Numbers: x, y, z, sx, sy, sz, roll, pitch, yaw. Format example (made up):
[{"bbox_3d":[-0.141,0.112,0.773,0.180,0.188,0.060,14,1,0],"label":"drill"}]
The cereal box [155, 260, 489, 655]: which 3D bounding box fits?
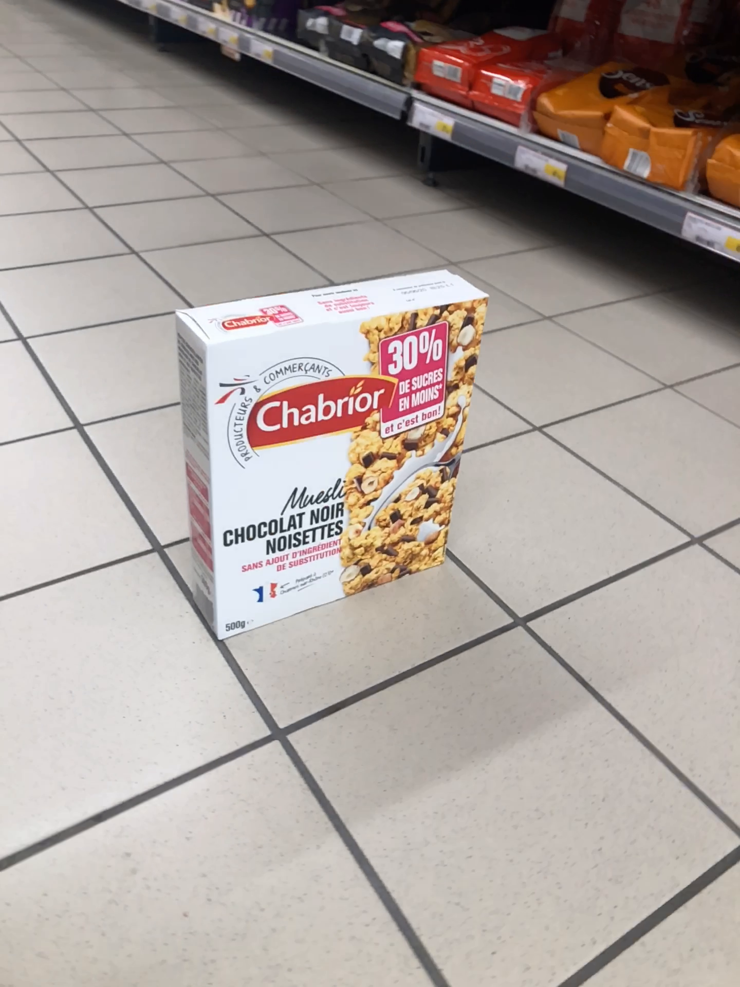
[{"bbox_3d":[-0.031,-0.023,0.558,0.201,0.239,0.050,-16,40,-27],"label":"cereal box"}]
